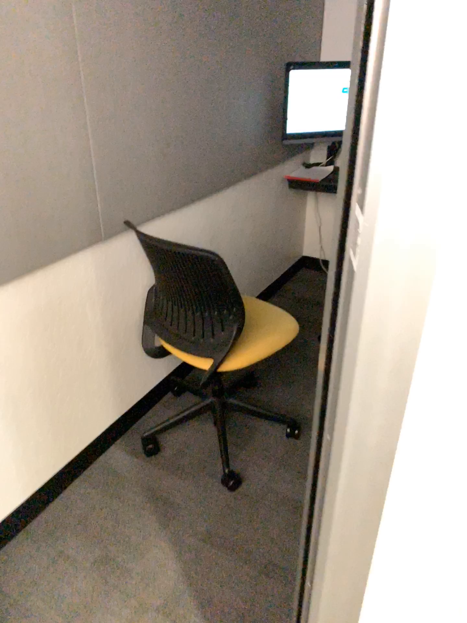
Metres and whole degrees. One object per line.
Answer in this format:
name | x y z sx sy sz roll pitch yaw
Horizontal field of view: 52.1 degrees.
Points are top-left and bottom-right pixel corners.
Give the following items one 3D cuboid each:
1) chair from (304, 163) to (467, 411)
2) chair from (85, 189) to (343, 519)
chair | 1.013 -0.189 2.677 0.950 1.034 0.926 -3 29 -6
chair | -0.064 0.099 1.670 0.571 0.845 0.552 -24 37 -37
